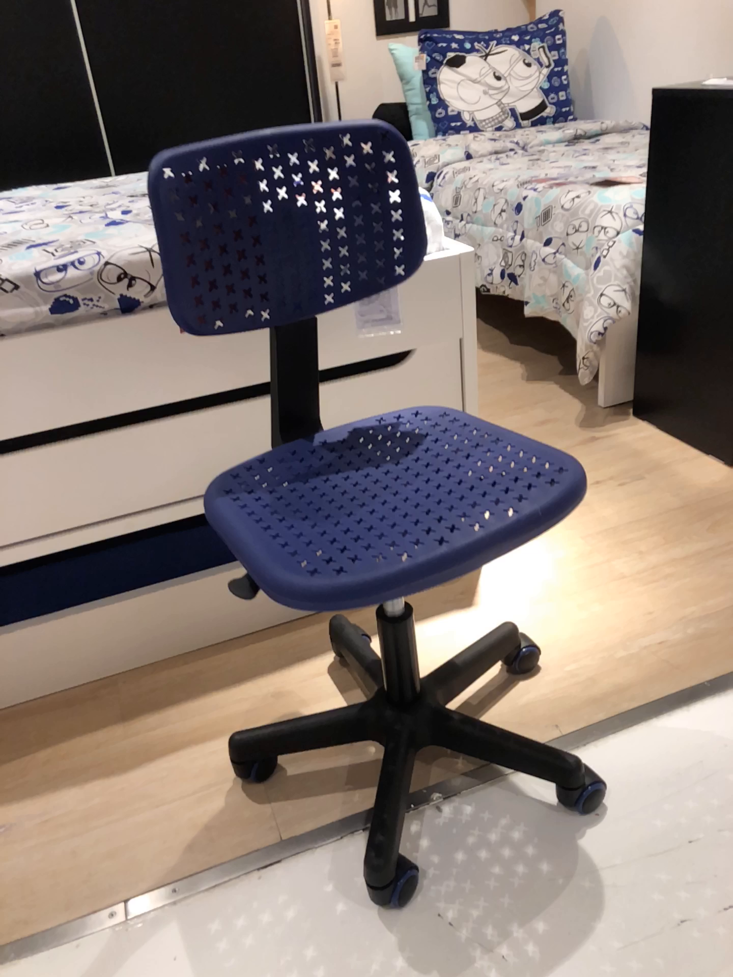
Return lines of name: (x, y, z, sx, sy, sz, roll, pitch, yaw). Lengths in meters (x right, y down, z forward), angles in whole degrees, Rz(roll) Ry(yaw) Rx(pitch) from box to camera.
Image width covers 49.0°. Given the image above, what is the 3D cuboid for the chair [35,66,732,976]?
chair: (0.028, -0.011, 0.965, 0.551, 0.814, 0.523, -17, 30, -19)
